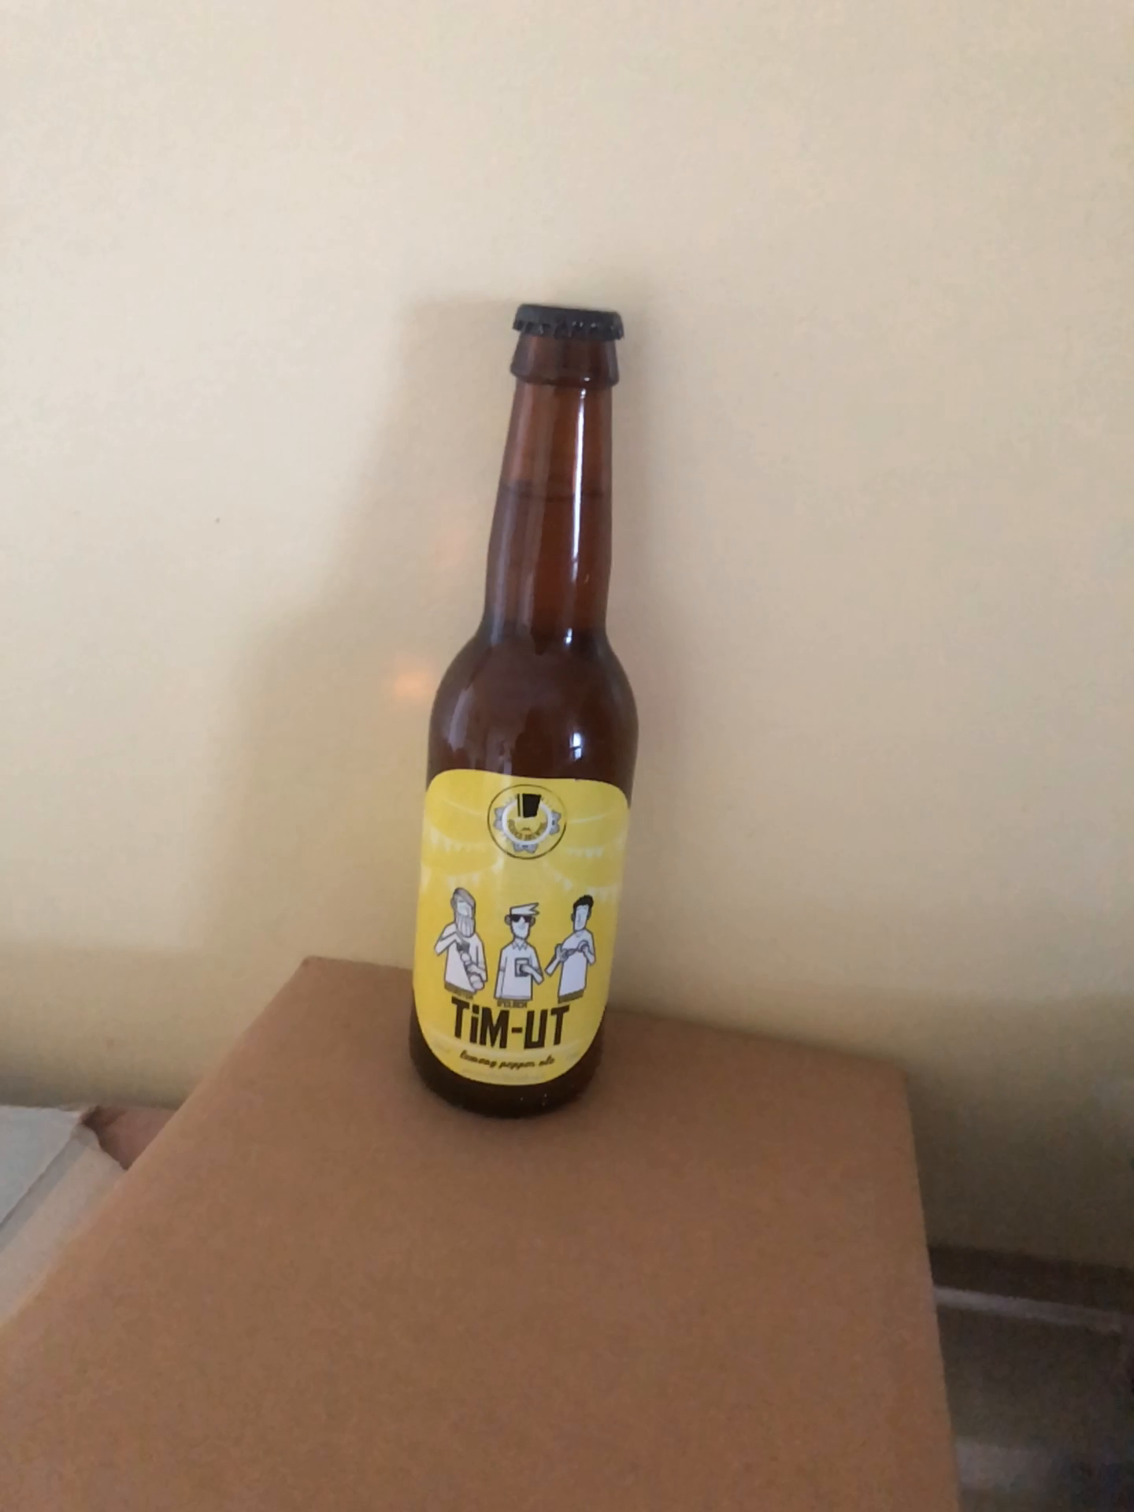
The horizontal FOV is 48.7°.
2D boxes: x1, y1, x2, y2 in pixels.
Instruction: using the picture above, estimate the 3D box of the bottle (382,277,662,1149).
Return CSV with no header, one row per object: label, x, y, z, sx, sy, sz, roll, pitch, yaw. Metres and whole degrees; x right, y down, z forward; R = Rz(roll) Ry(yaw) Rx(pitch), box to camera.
bottle,-0.014,-0.009,0.351,0.060,0.229,0.060,4,19,-1
